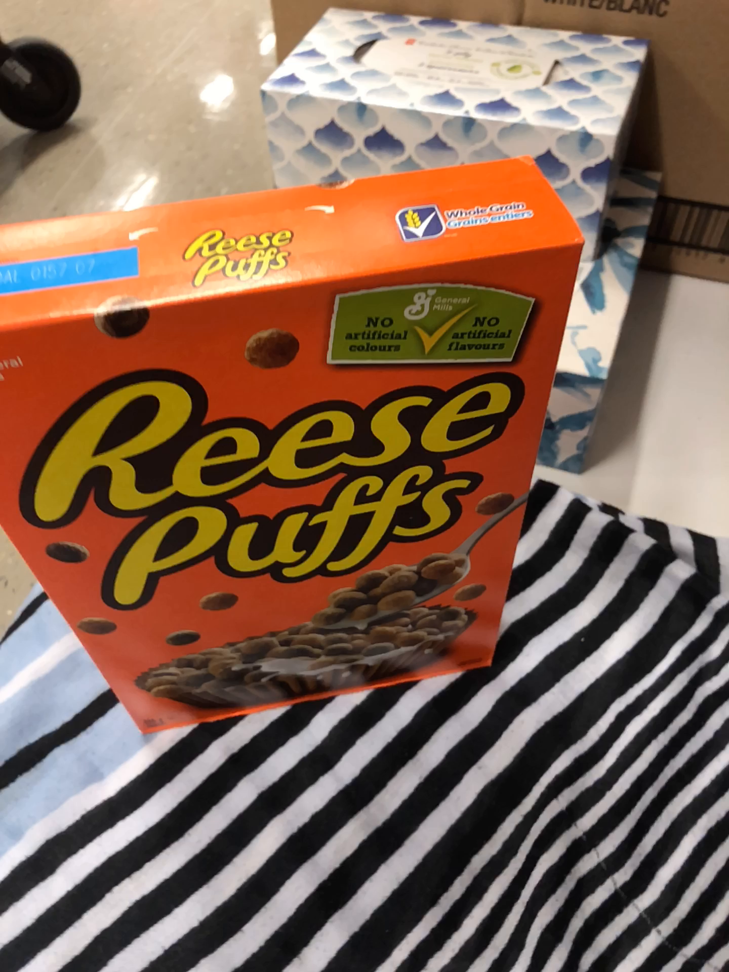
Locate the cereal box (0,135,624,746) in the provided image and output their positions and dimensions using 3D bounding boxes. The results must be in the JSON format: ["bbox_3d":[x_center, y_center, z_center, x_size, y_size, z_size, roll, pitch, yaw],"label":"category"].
[{"bbox_3d":[-0.033,0.014,0.323,0.210,0.269,0.040,-10,52,-5],"label":"cereal box"}]
